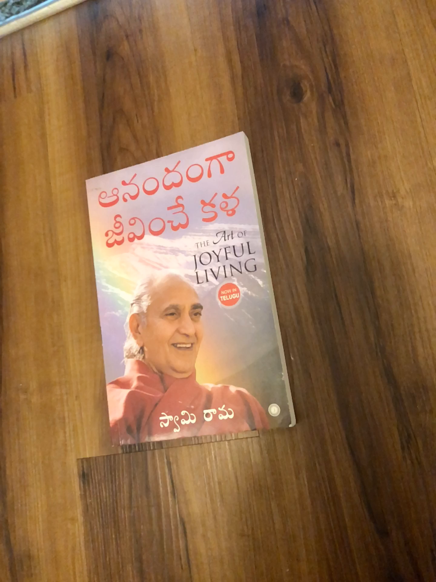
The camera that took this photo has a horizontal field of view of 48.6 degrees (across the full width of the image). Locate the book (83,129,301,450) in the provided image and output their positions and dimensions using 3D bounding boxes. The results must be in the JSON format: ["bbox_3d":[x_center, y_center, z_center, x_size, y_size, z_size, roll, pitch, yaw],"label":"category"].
[{"bbox_3d":[-0.027,0.002,0.373,0.144,0.020,0.219,-12,80,19],"label":"book"}]
